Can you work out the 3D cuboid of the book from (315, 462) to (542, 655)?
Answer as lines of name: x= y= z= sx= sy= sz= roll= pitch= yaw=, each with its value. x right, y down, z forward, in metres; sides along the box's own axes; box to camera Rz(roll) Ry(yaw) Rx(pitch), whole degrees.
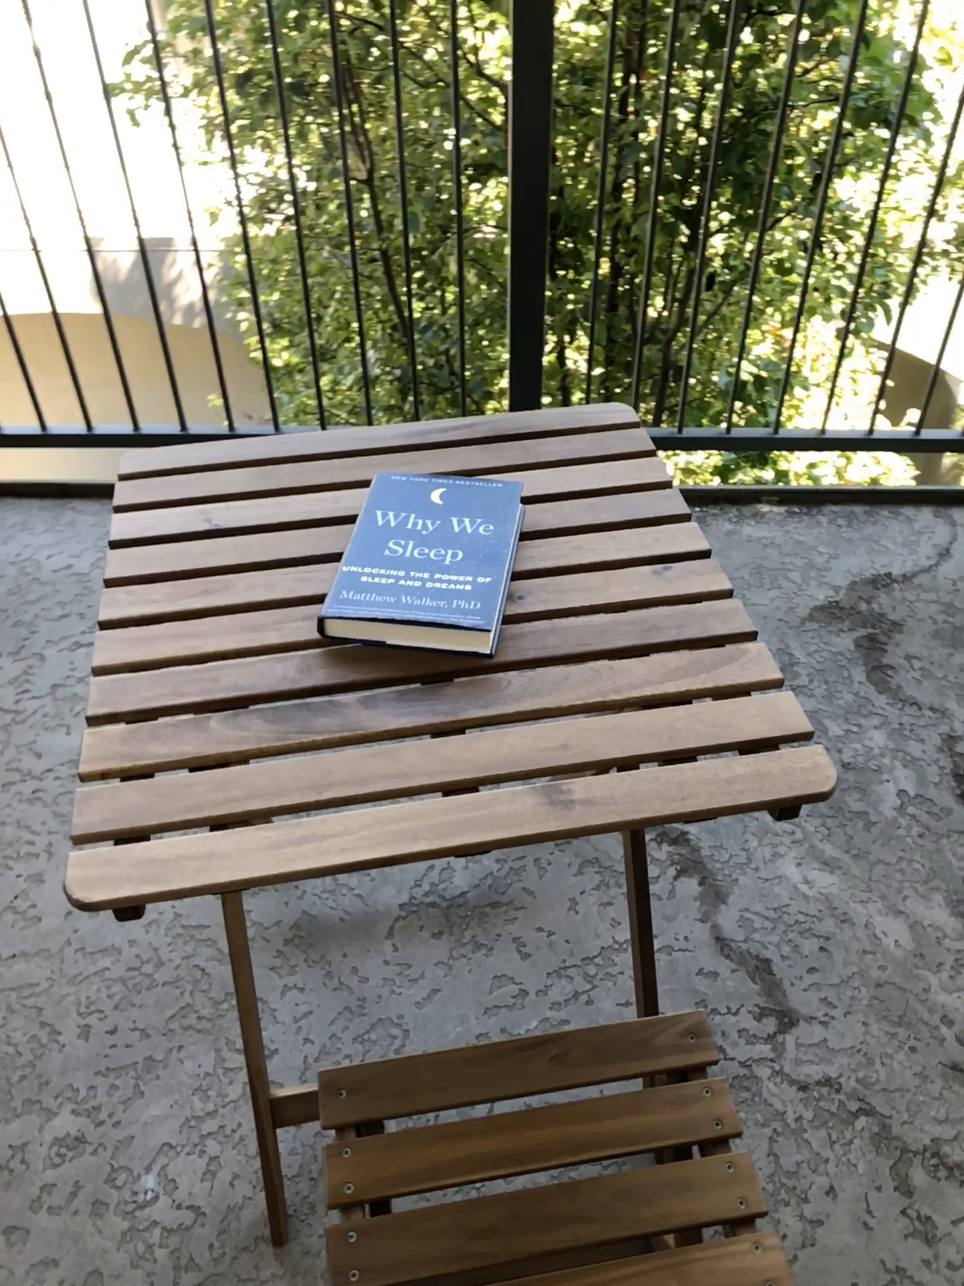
book: x=-0.043 y=-0.089 z=1.025 sx=0.170 sy=0.029 sz=0.235 roll=7 pitch=43 yaw=8
